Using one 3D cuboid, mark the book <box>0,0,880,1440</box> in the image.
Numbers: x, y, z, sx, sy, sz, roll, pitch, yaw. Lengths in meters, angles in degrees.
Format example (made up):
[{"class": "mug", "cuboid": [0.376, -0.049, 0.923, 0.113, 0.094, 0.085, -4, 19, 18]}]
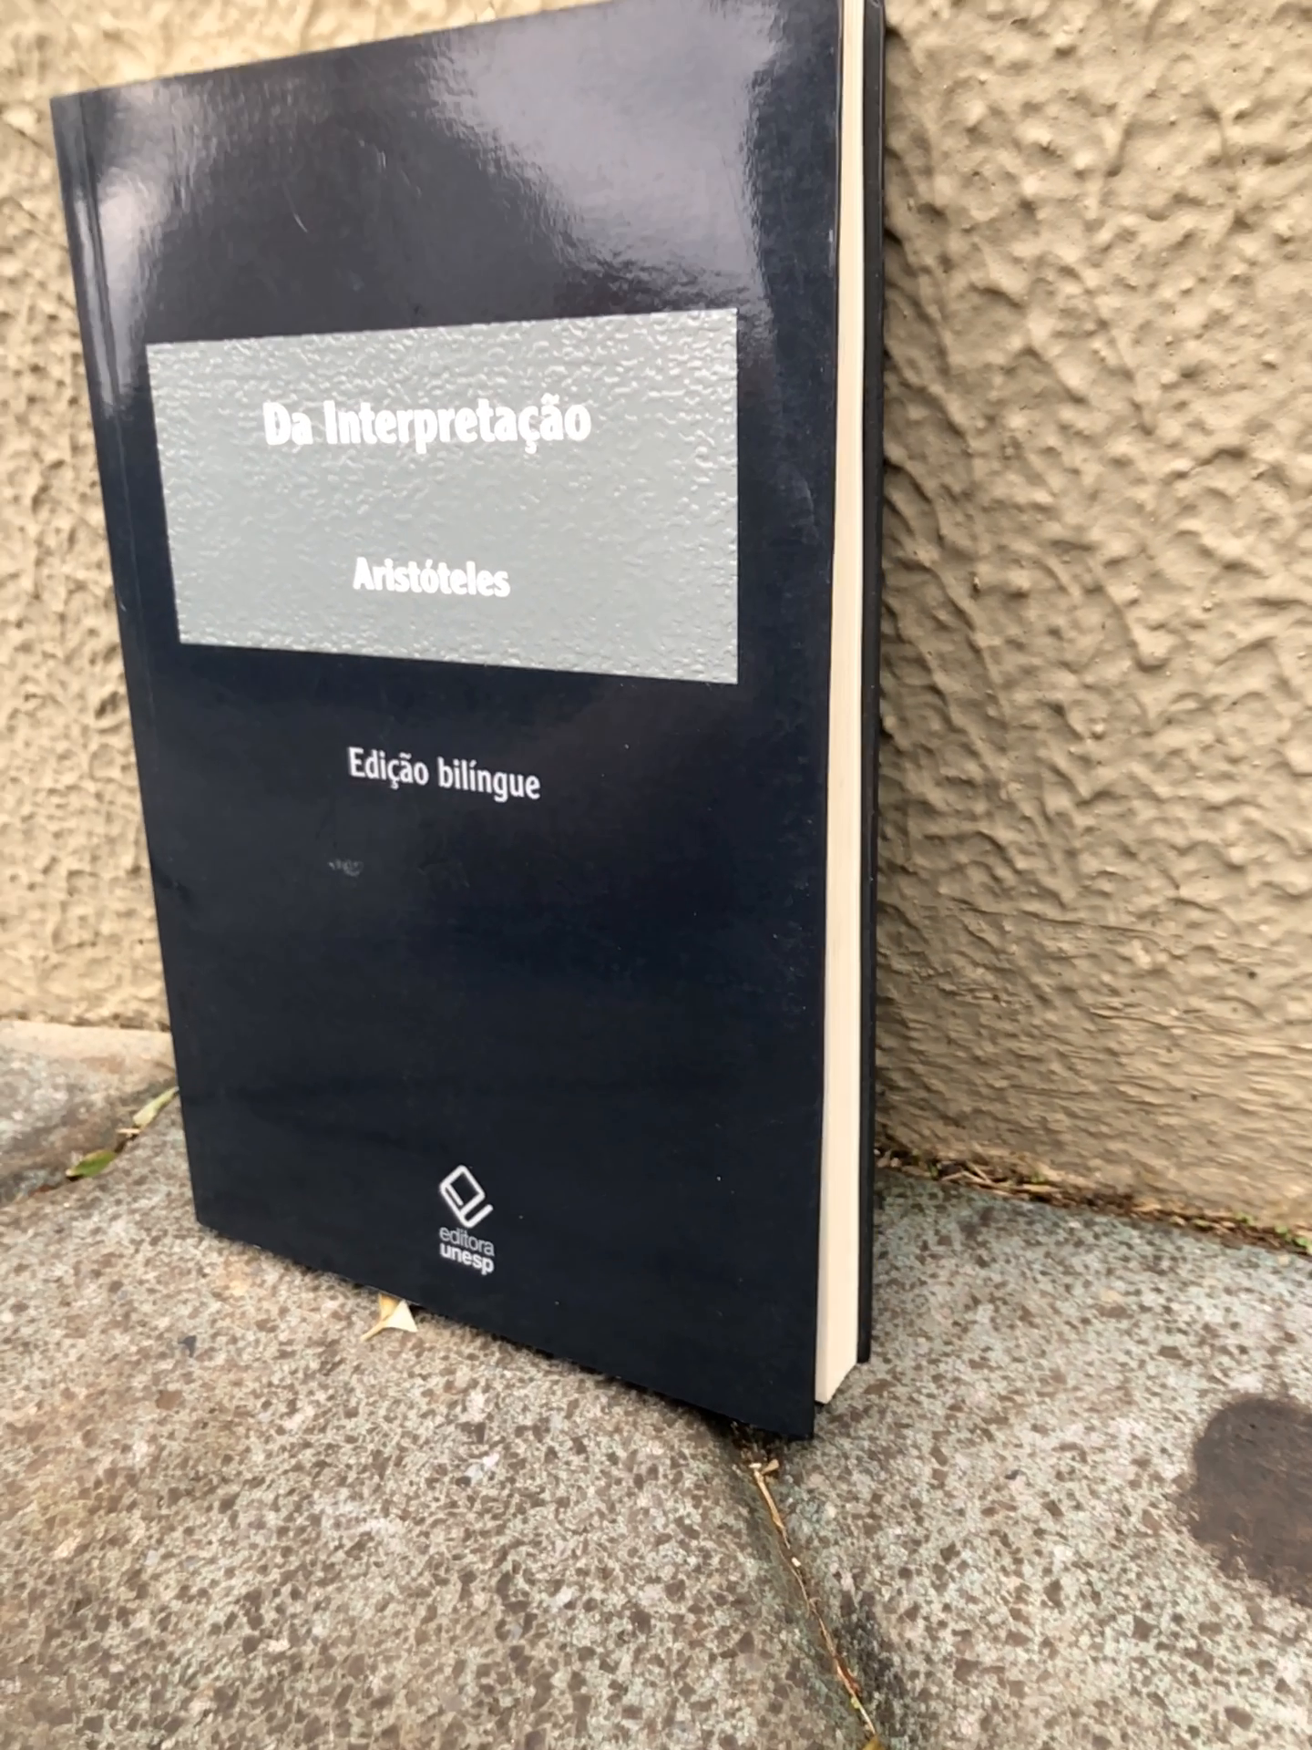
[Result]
[{"class": "book", "cuboid": [-0.034, -0.023, 0.227, 0.132, 0.187, 0.030, 9, 19, 31]}]
